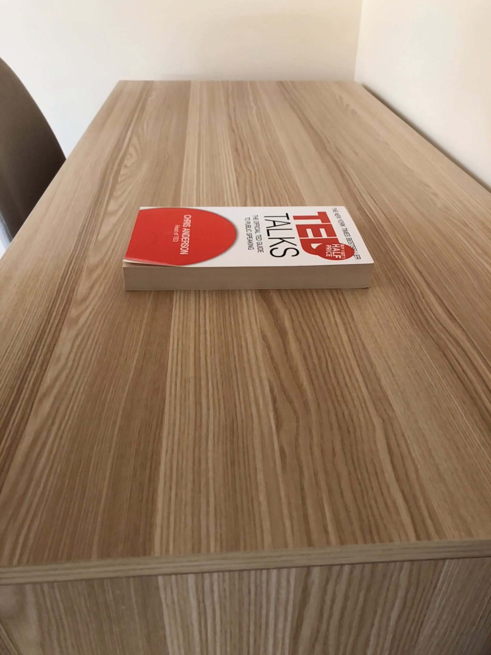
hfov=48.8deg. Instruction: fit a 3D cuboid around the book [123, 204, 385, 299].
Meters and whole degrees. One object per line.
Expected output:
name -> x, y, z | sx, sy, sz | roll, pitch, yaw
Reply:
book -> 0.006, -0.078, 0.519 | 0.220, 0.030, 0.139 | -1, 34, -2
